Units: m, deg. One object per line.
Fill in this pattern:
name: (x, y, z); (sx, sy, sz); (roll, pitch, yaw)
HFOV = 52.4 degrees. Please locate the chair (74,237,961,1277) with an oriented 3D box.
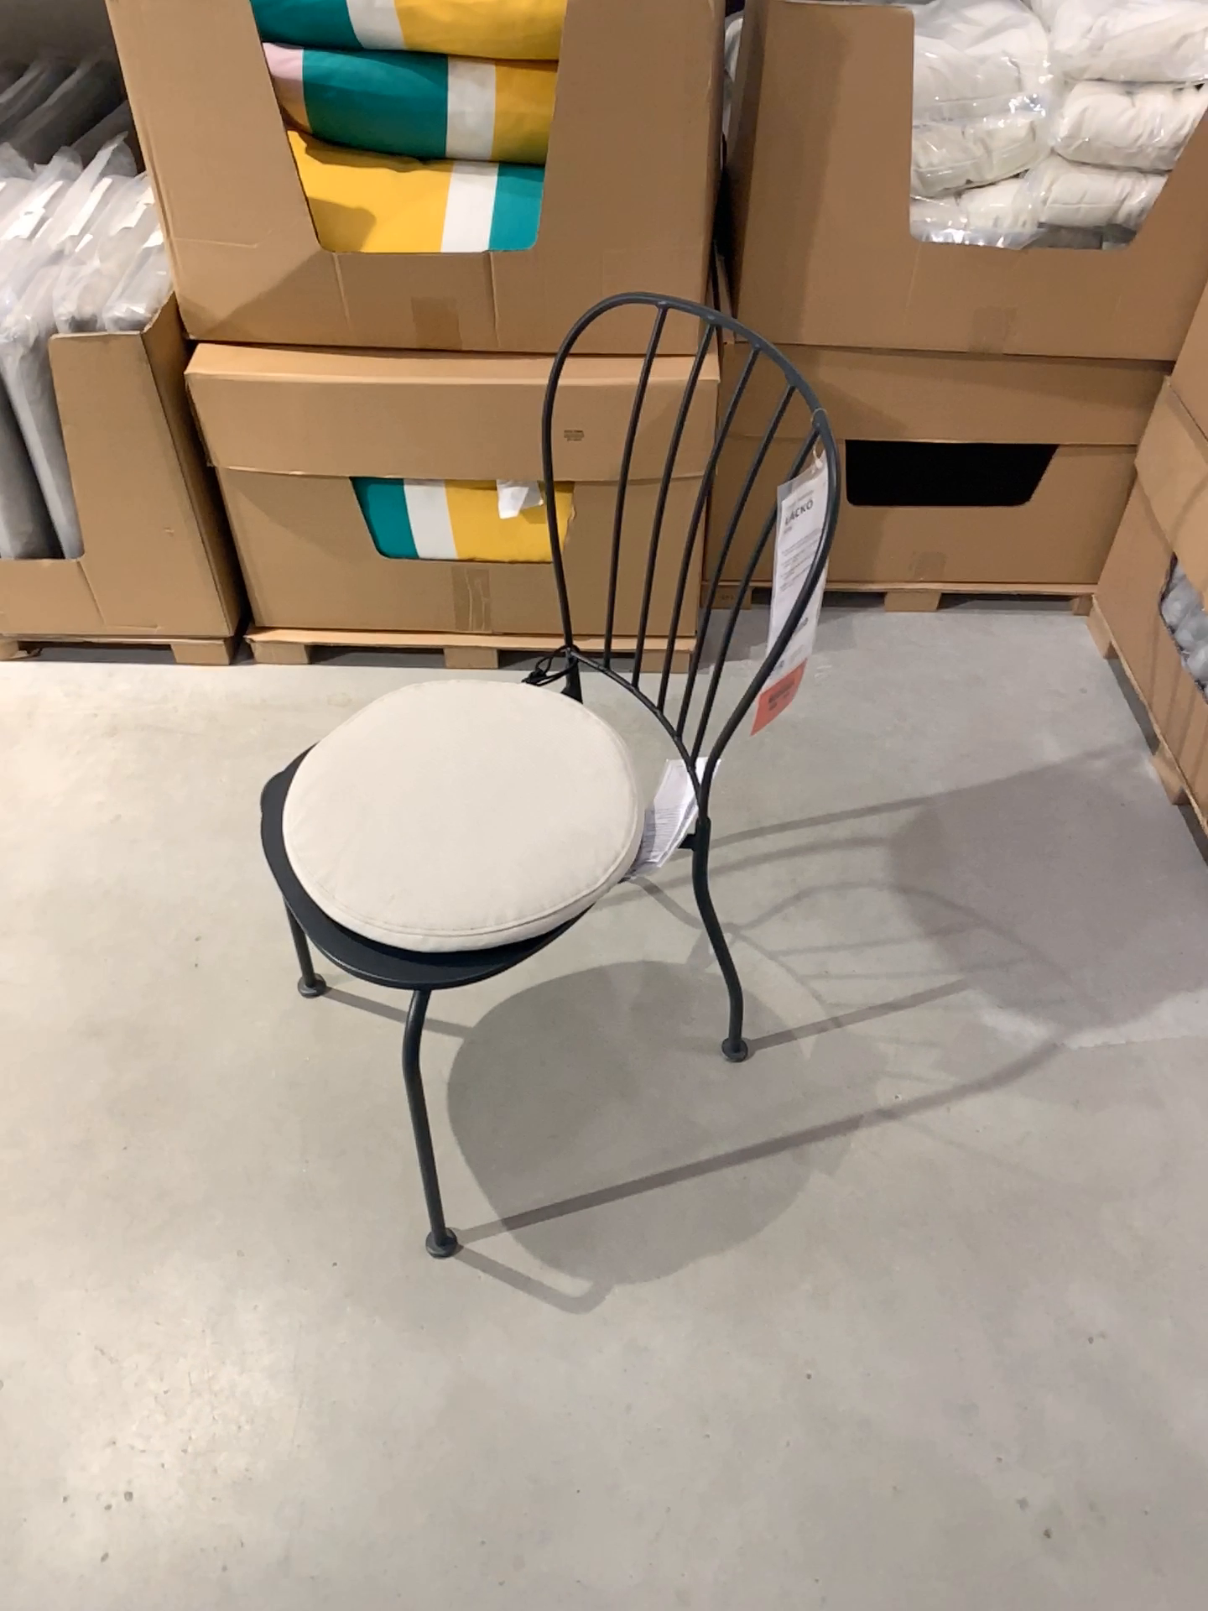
chair: (-0.089, -0.018, 1.245); (0.520, 0.817, 0.482); (-22, 52, -19)
